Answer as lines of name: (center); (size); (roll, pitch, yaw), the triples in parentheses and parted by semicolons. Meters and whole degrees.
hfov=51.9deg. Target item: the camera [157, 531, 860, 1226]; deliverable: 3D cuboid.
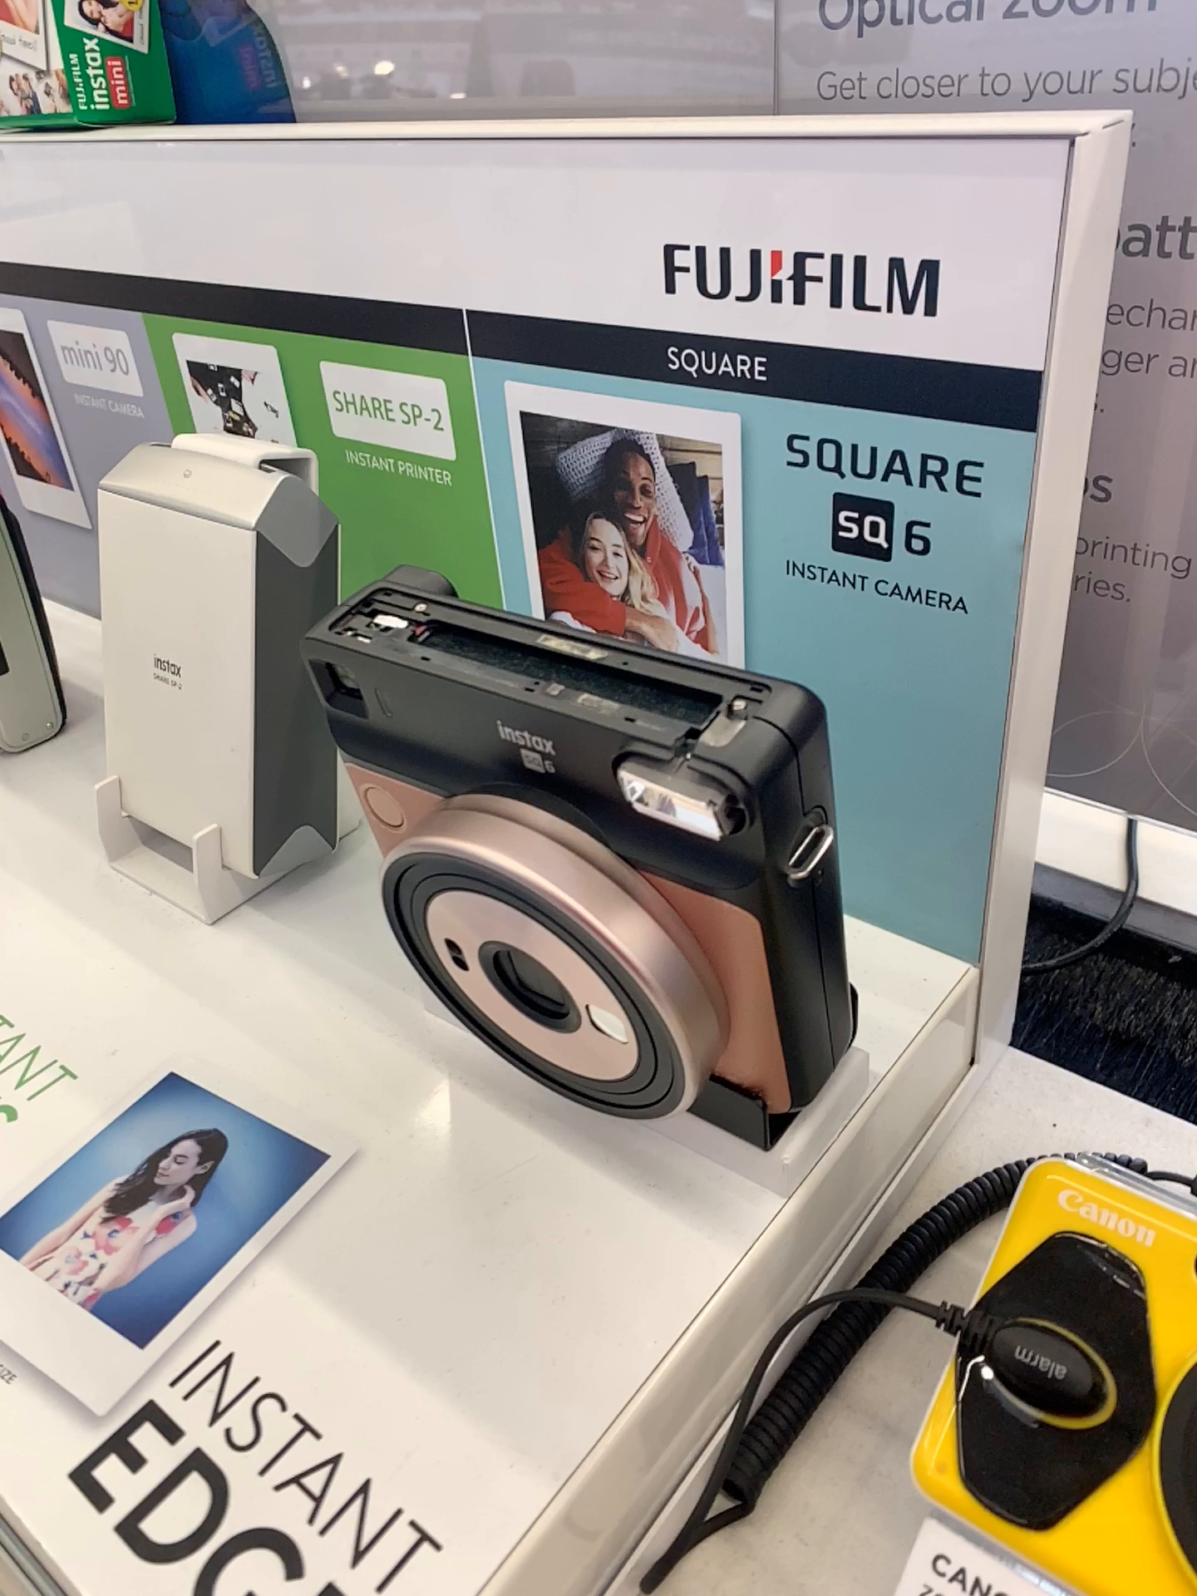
camera: (-0.015, 0.016, 0.286); (0.130, 0.119, 0.060); (18, 50, 31)
